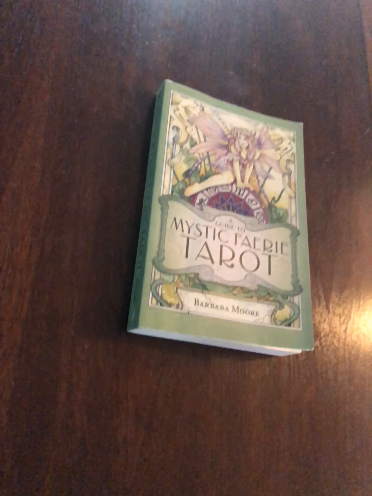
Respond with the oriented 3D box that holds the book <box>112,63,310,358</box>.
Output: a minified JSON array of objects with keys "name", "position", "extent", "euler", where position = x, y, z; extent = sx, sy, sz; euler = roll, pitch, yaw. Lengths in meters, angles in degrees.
[{"name":"book","position":[0.028,-0.029,0.326],"extent":[0.139,0.032,0.208],"euler":[14,67,-21]}]
